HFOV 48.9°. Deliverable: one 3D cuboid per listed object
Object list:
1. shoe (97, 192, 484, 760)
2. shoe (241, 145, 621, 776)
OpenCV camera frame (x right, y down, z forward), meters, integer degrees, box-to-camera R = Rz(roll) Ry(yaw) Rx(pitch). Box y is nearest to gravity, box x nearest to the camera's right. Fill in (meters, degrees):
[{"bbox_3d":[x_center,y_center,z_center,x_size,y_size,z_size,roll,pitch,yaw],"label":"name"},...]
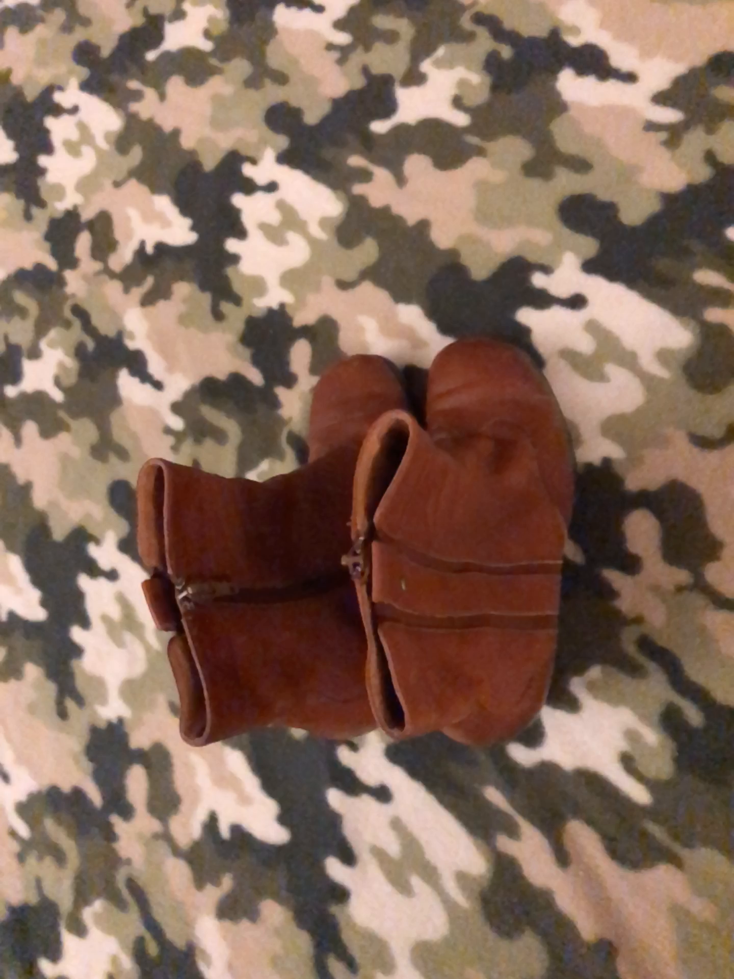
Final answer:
[{"bbox_3d":[-0.031,0.009,0.409,0.090,0.189,0.220,-14,72,24],"label":"shoe"},{"bbox_3d":[0.037,0.005,0.372,0.090,0.189,0.220,-11,73,25],"label":"shoe"}]
